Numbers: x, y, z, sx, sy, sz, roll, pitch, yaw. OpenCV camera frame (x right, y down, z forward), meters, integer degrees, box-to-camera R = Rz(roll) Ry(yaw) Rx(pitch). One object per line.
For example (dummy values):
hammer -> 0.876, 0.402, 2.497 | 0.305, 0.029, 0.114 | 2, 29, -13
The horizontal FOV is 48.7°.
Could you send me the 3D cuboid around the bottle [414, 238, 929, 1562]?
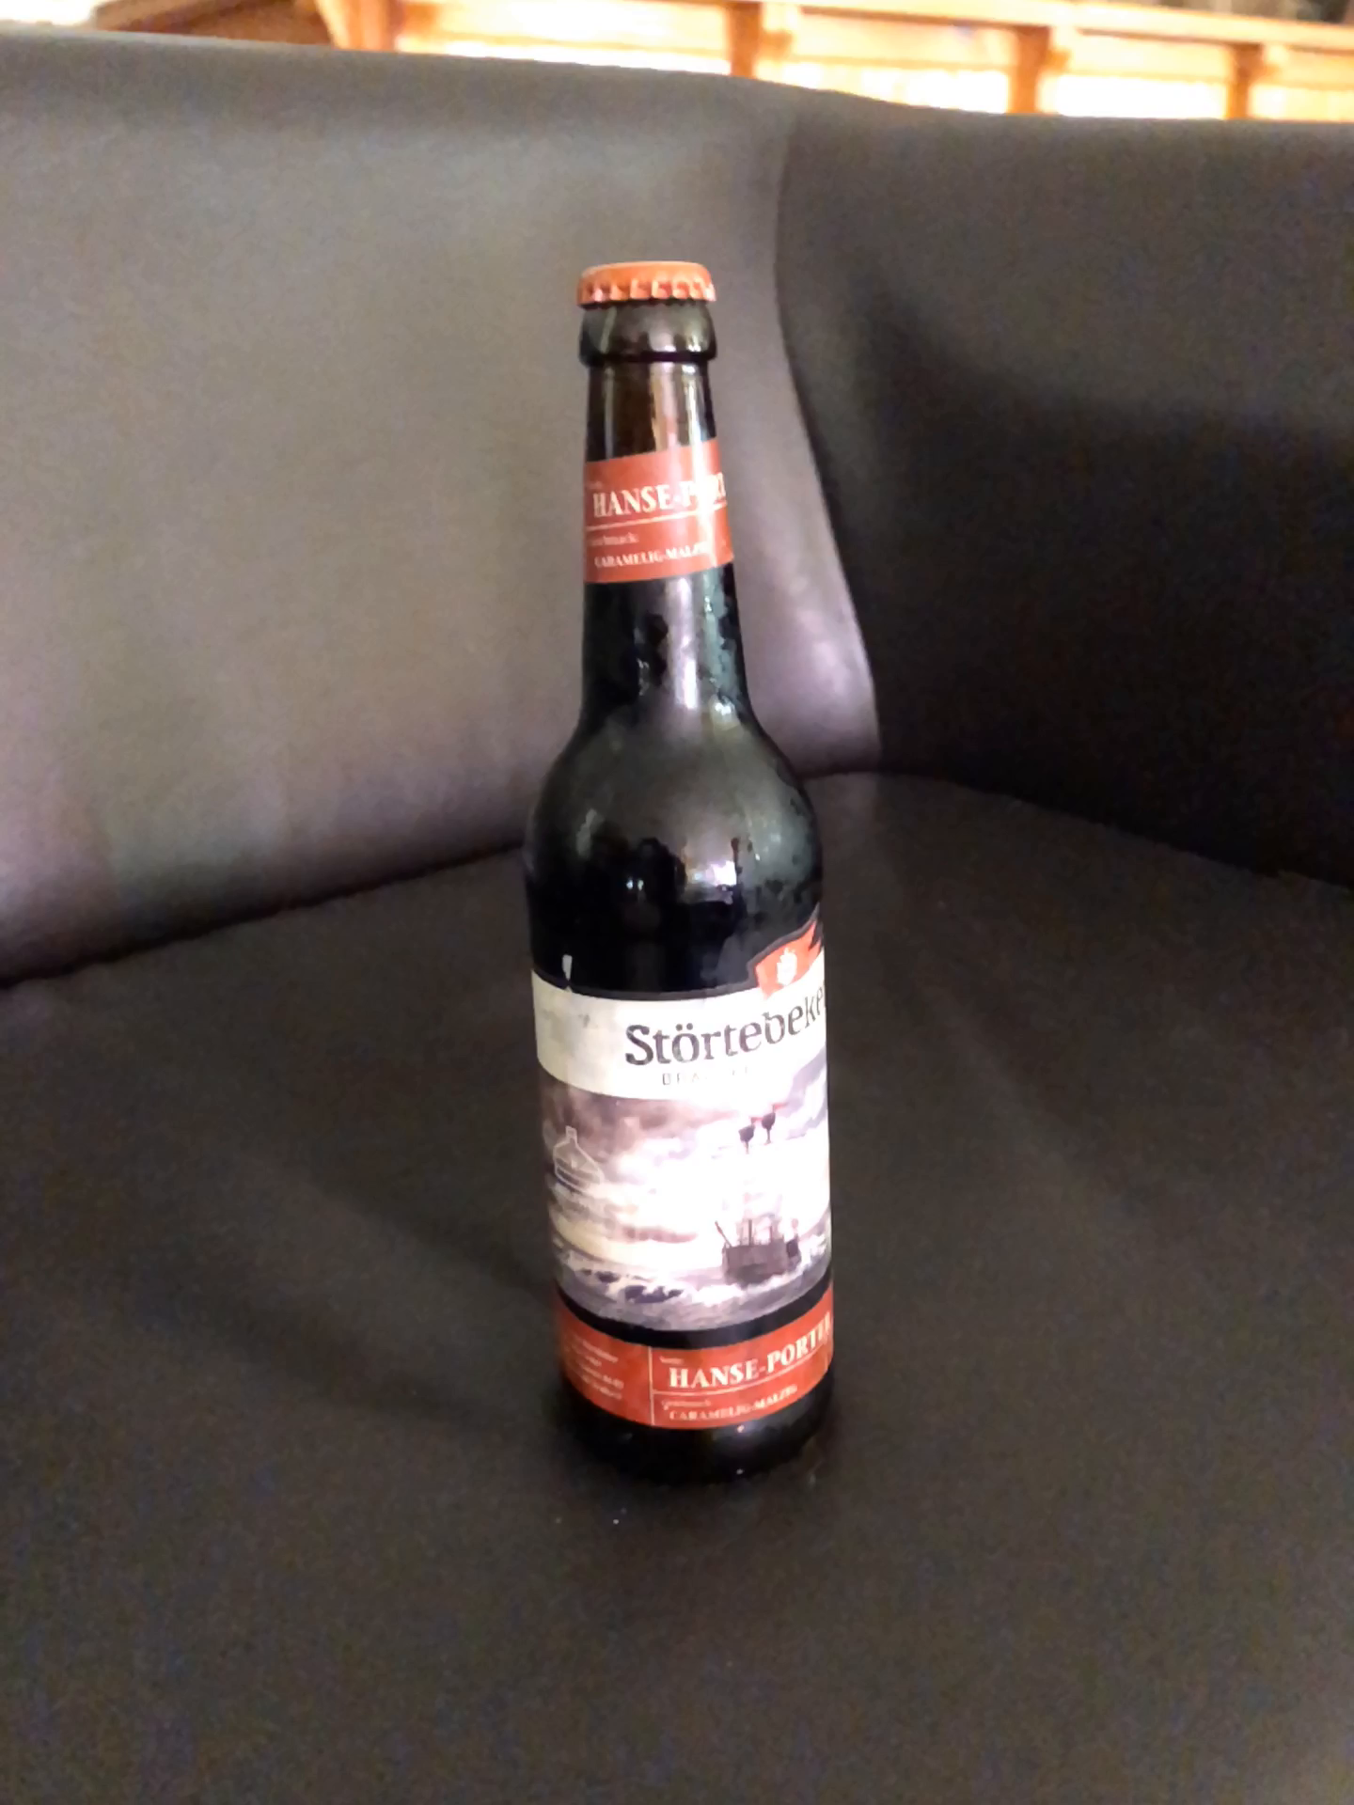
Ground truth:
bottle -> -0.001, 0.002, 0.346 | 0.080, 0.279, 0.080 | -1, 19, 1
